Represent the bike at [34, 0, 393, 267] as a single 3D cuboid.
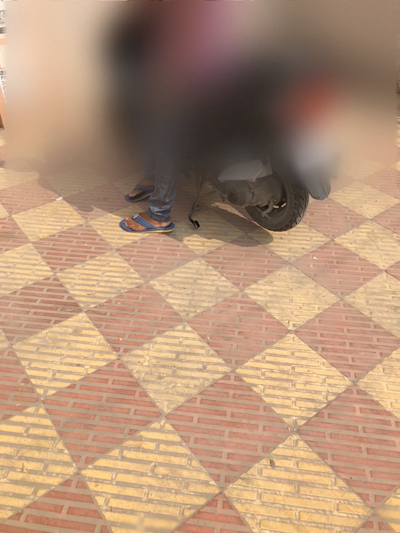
[{"bbox_3d":[-0.060,-0.827,2.145,0.577,0.987,1.507,-31,47,-32],"label":"bike"}]
